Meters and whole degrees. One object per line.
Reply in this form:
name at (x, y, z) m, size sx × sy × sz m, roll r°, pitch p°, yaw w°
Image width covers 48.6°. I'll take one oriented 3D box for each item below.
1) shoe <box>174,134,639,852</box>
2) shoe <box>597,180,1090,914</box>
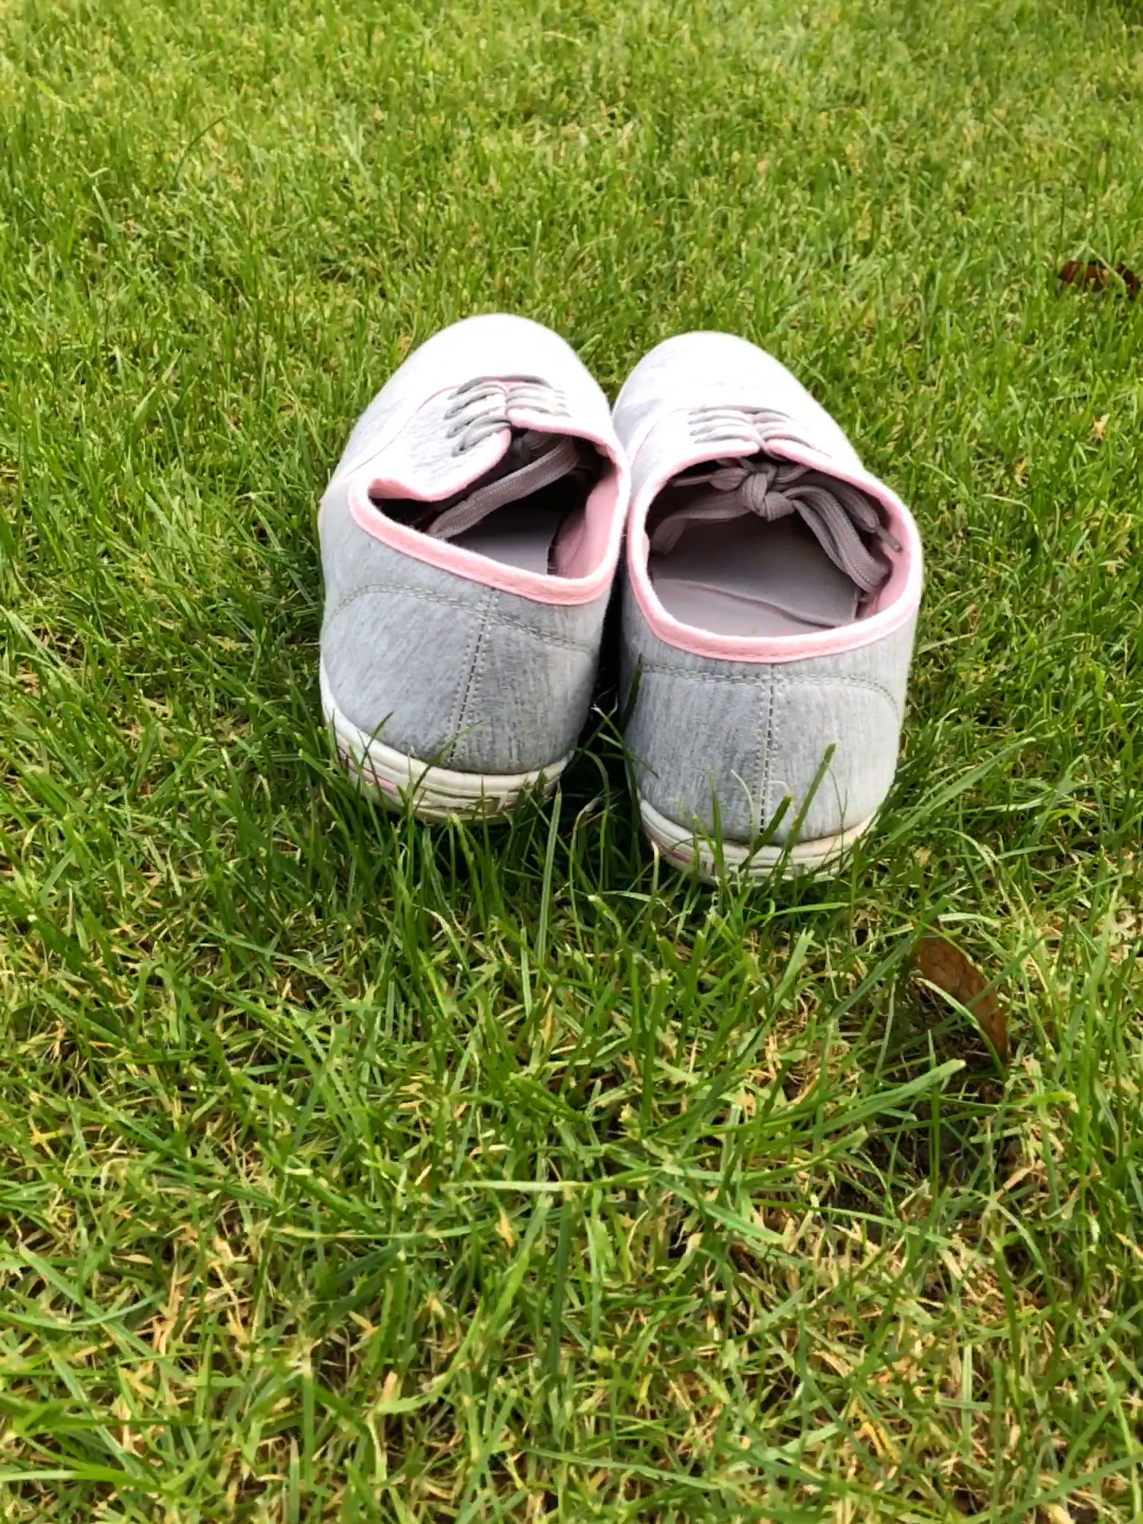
shoe at (-0.037, -0.102, 0.397) m, size 0.100 × 0.089 × 0.262 m, roll 3°, pitch 44°, yaw -2°
shoe at (0.062, -0.085, 0.398) m, size 0.100 × 0.089 × 0.262 m, roll 3°, pitch 44°, yaw -2°
